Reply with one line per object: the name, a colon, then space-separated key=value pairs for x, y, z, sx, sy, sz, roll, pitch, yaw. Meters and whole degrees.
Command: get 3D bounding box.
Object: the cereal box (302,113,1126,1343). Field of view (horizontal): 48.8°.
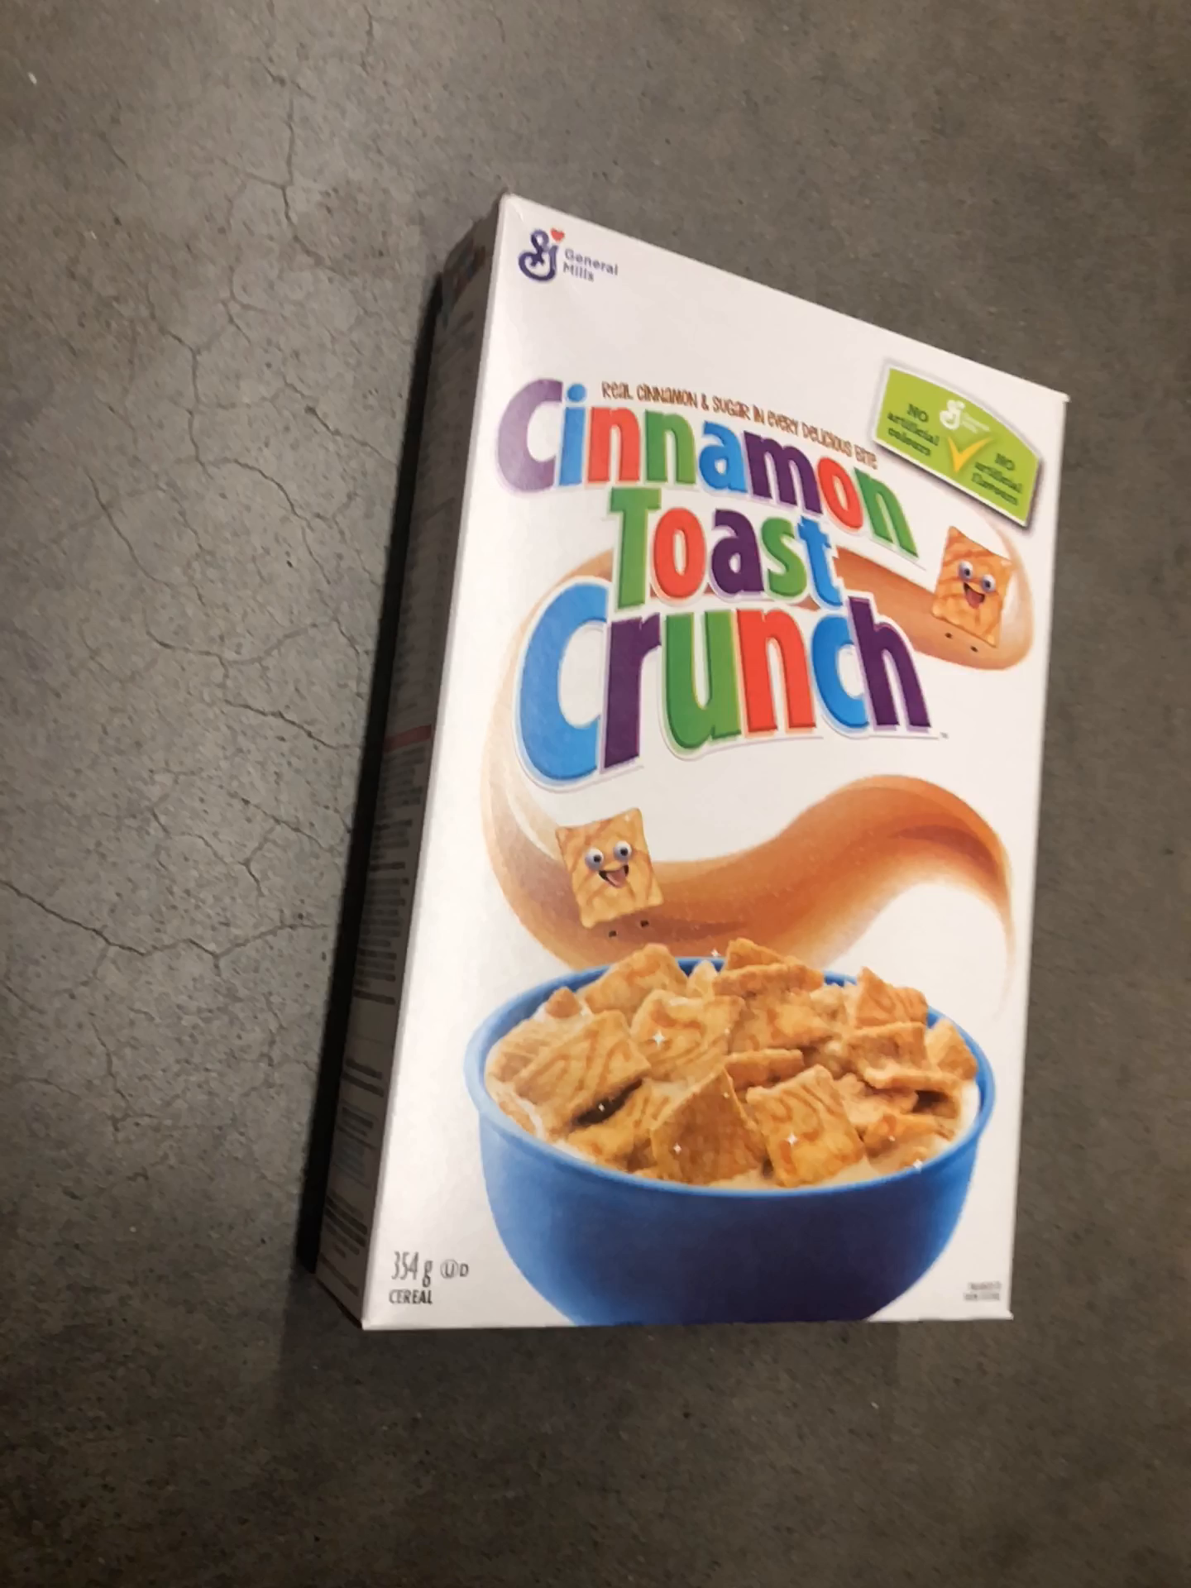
cereal box: x=0.042 y=-0.007 z=0.371 sx=0.200 sy=0.060 sz=0.290 roll=9 pitch=84 yaw=-23
